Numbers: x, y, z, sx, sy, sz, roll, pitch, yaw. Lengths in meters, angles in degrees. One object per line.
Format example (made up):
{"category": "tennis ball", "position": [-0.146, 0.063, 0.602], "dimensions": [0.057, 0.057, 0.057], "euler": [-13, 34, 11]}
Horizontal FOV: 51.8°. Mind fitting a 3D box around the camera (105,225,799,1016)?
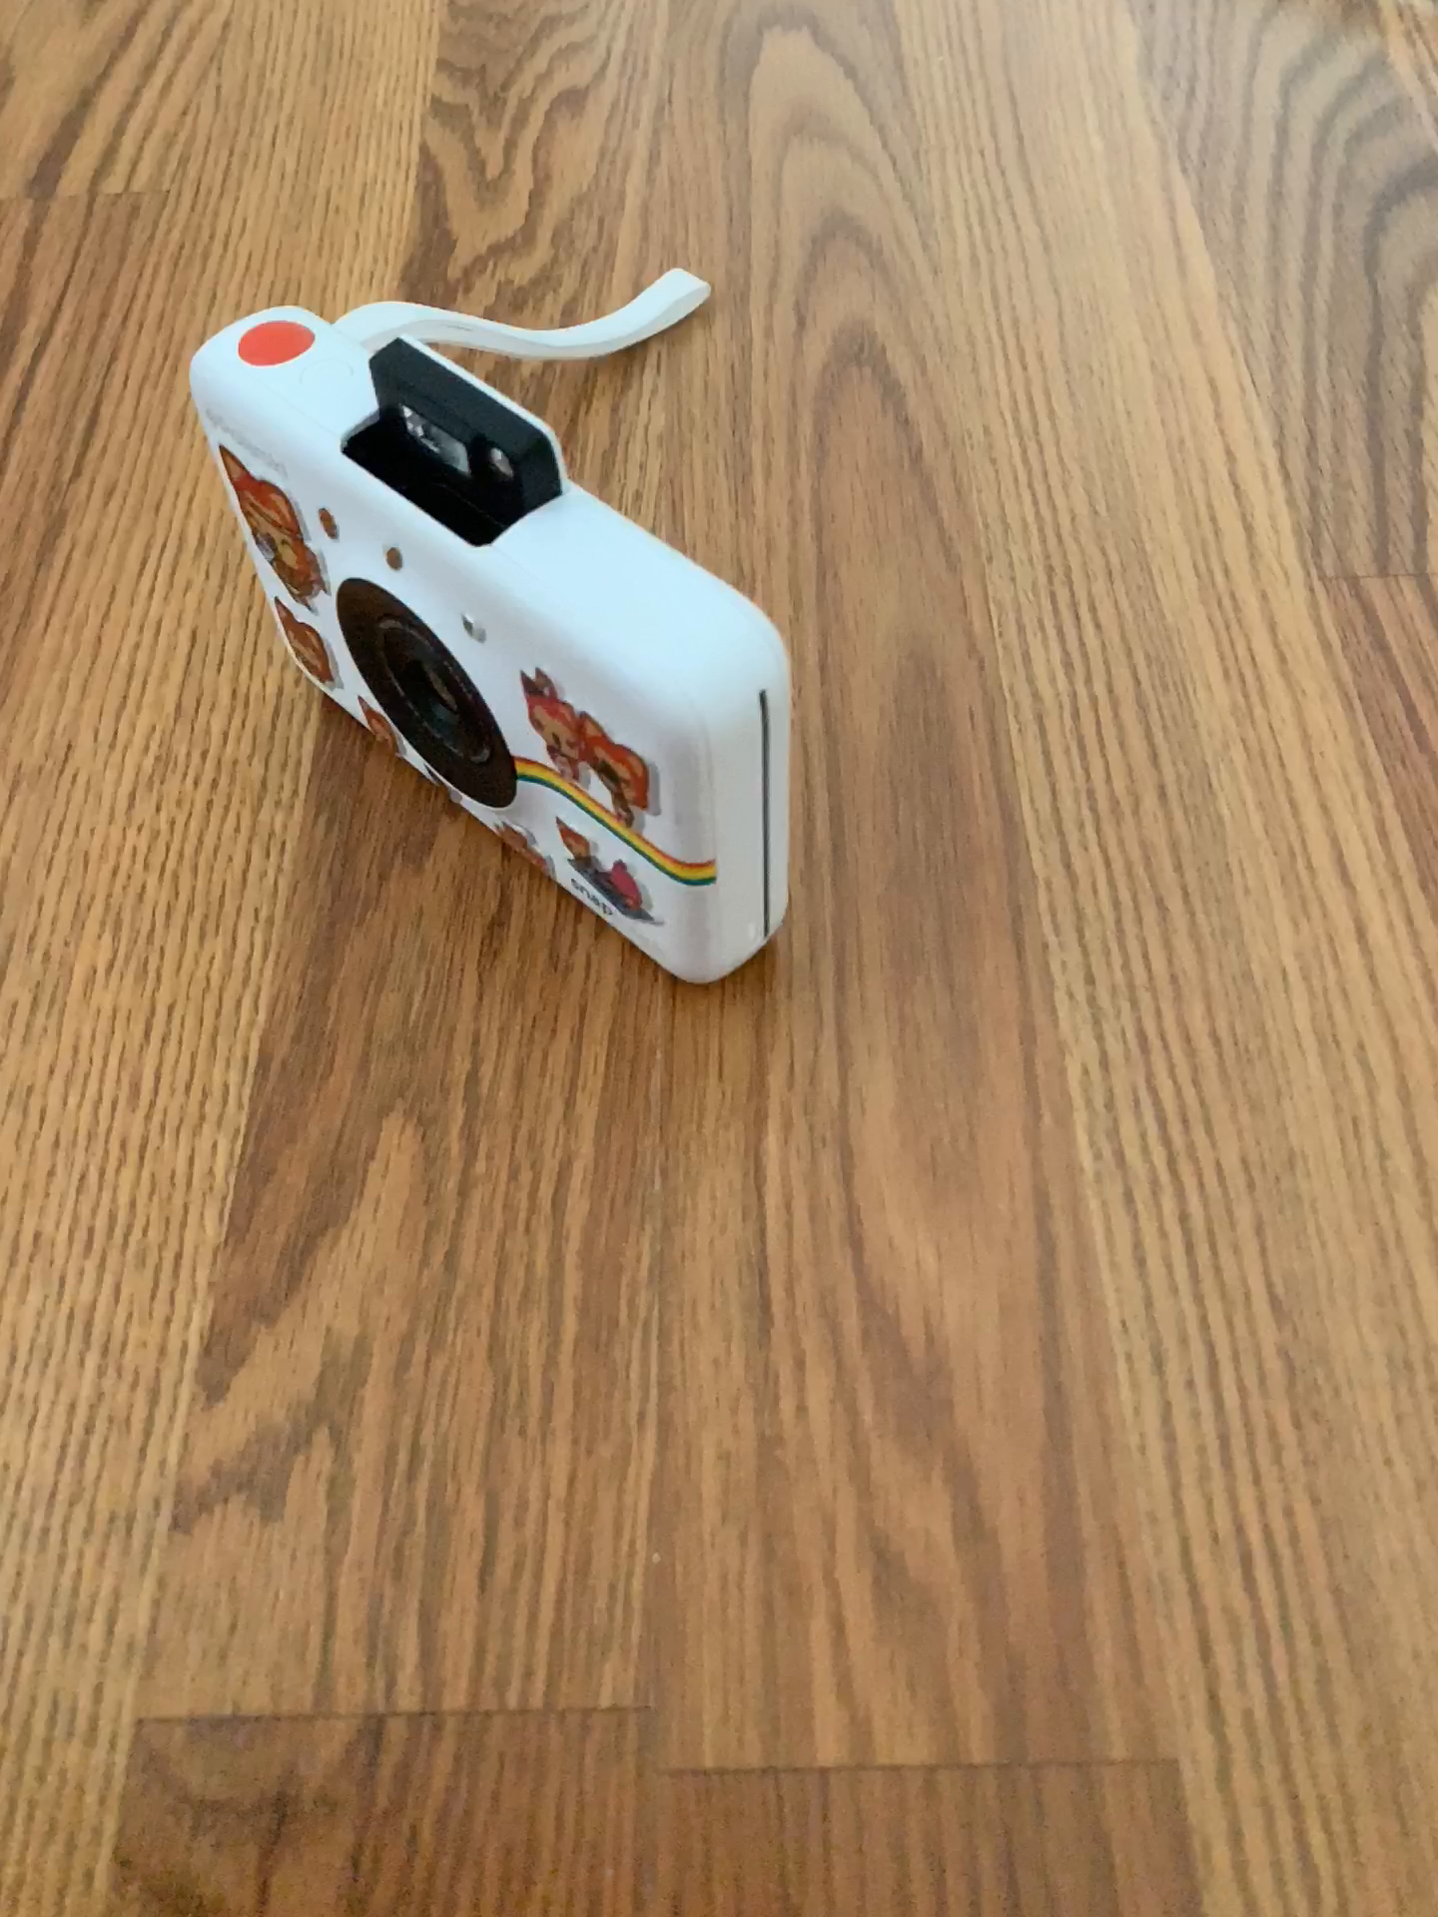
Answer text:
{"category": "camera", "position": [-0.042, -0.056, 0.248], "dimensions": [0.126, 0.081, 0.026], "euler": [38, 66, 25]}
